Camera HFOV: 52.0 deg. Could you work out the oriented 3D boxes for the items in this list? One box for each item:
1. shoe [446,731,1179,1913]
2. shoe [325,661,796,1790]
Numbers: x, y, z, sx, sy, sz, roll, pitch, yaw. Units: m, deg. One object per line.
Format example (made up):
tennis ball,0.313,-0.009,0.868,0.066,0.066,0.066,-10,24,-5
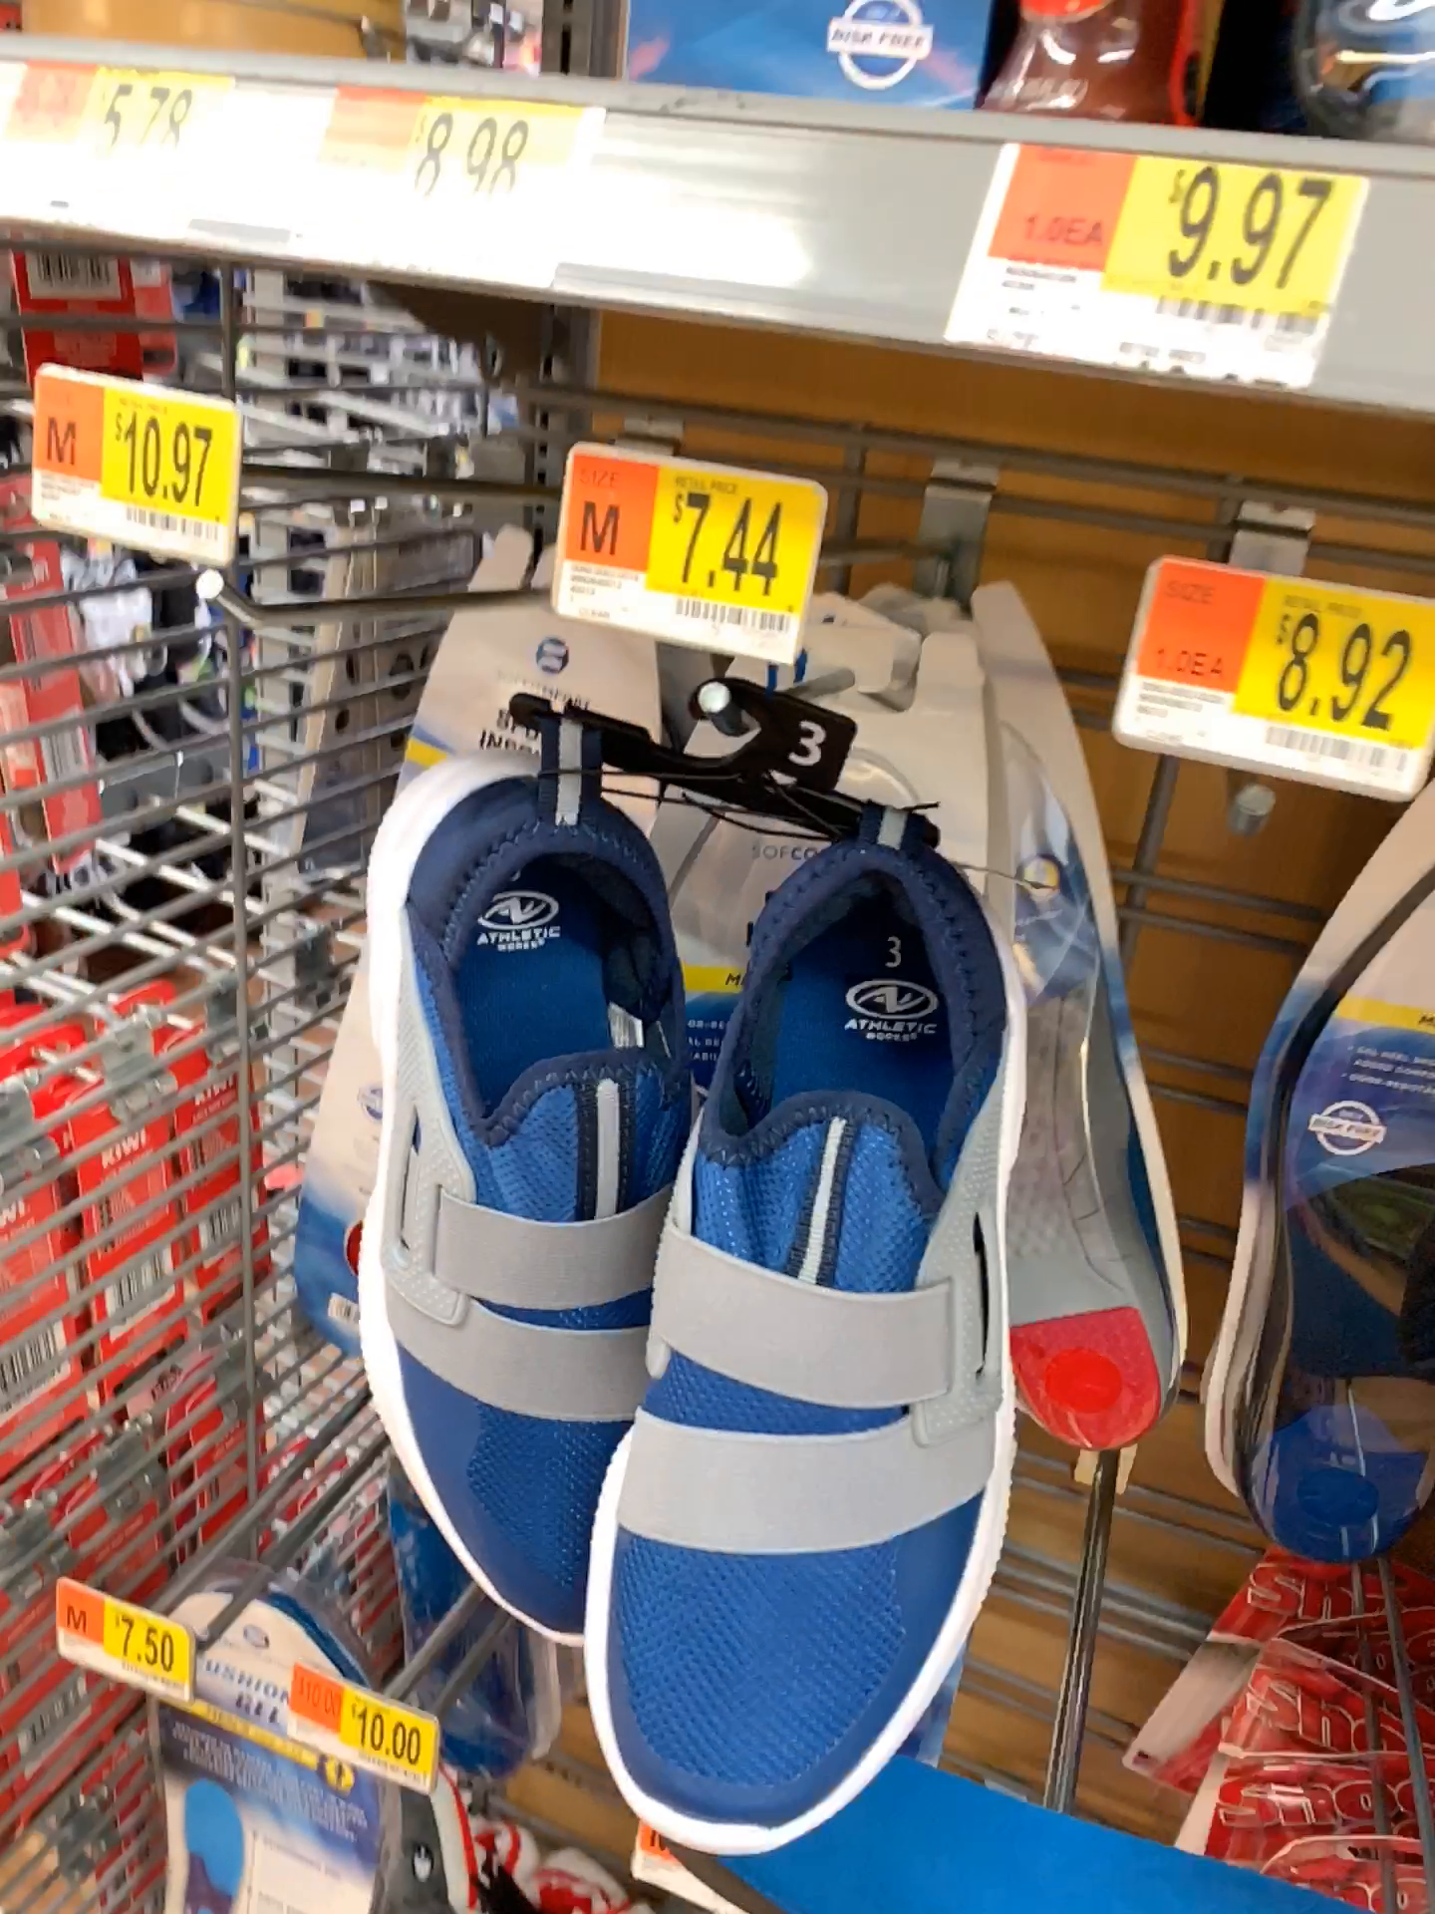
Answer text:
shoe,0.031,0.081,0.343,0.101,0.233,0.098,11,-15,11
shoe,-0.048,0.057,0.383,0.095,0.246,0.098,-2,-4,-15
